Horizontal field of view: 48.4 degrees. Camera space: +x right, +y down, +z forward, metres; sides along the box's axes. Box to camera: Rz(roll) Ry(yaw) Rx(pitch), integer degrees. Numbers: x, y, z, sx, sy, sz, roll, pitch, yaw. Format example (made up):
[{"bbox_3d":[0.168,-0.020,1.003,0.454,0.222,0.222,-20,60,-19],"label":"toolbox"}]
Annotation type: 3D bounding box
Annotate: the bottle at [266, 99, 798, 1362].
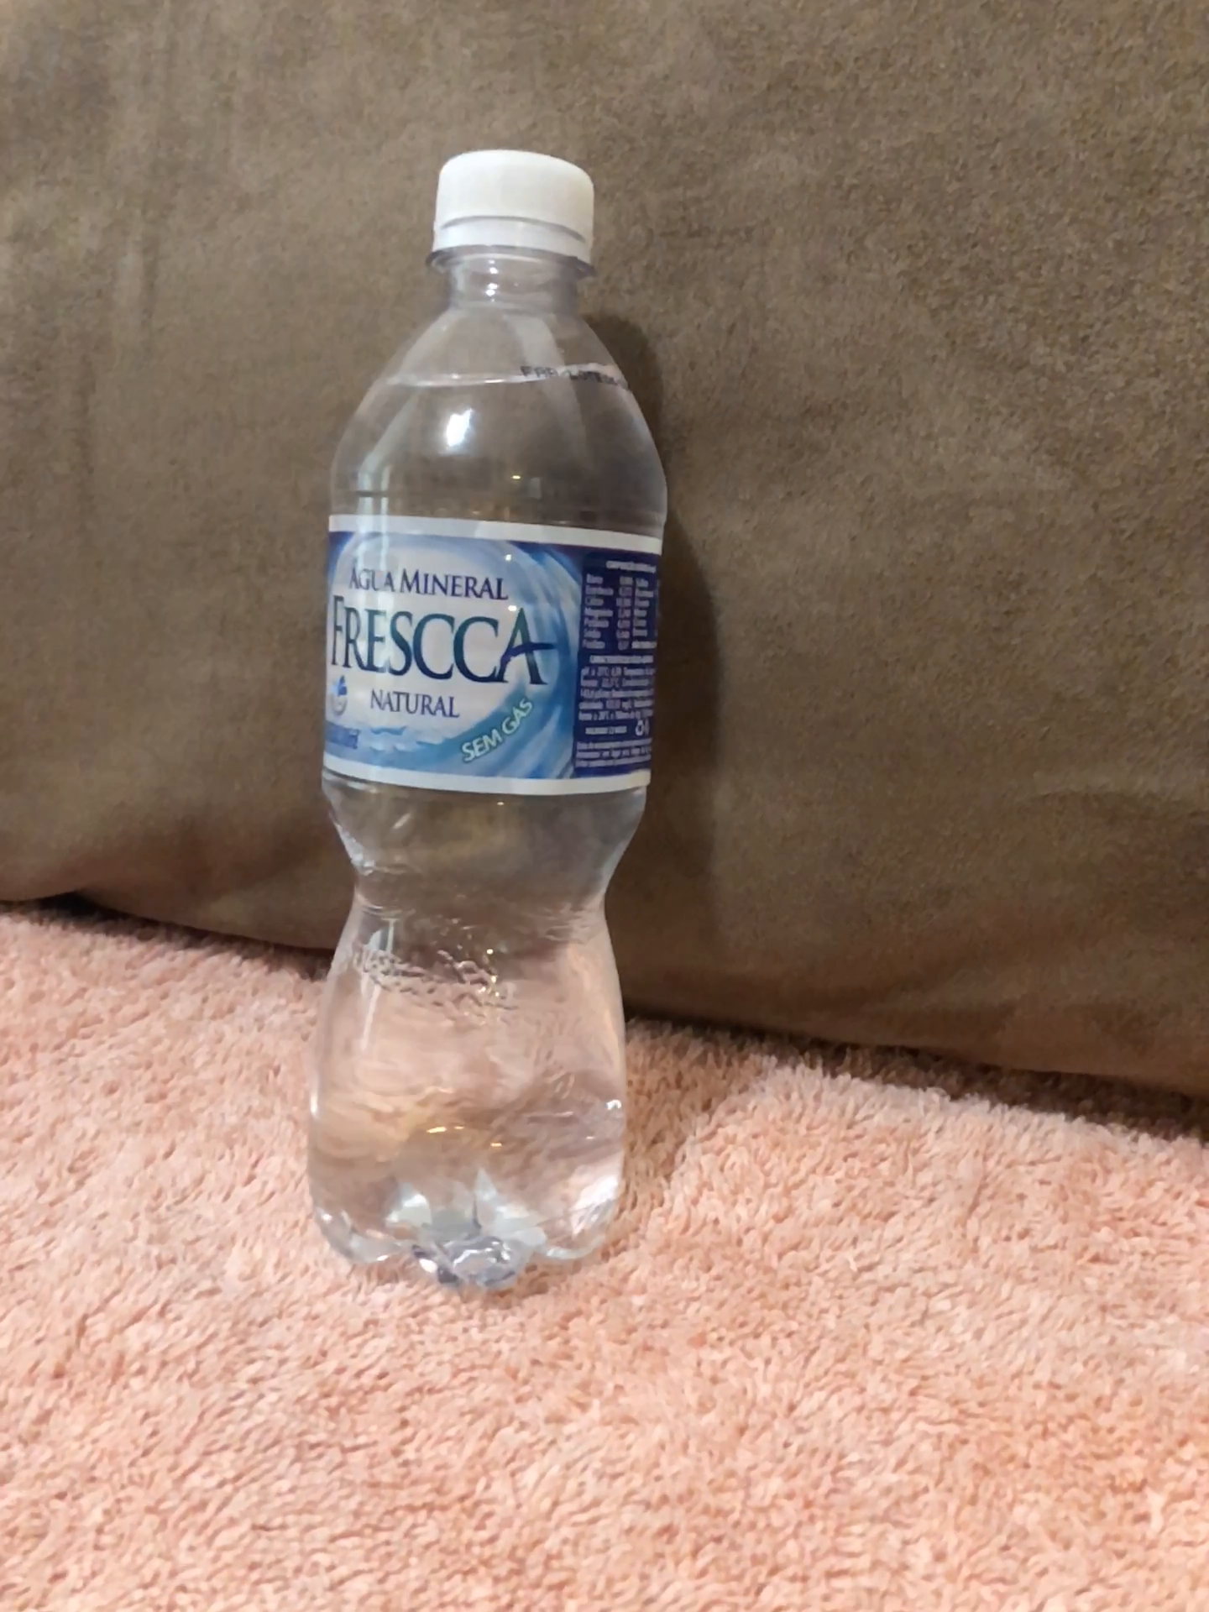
[{"bbox_3d":[-0.014,-0.014,0.273,0.070,0.209,0.080,7,10,27],"label":"bottle"}]
